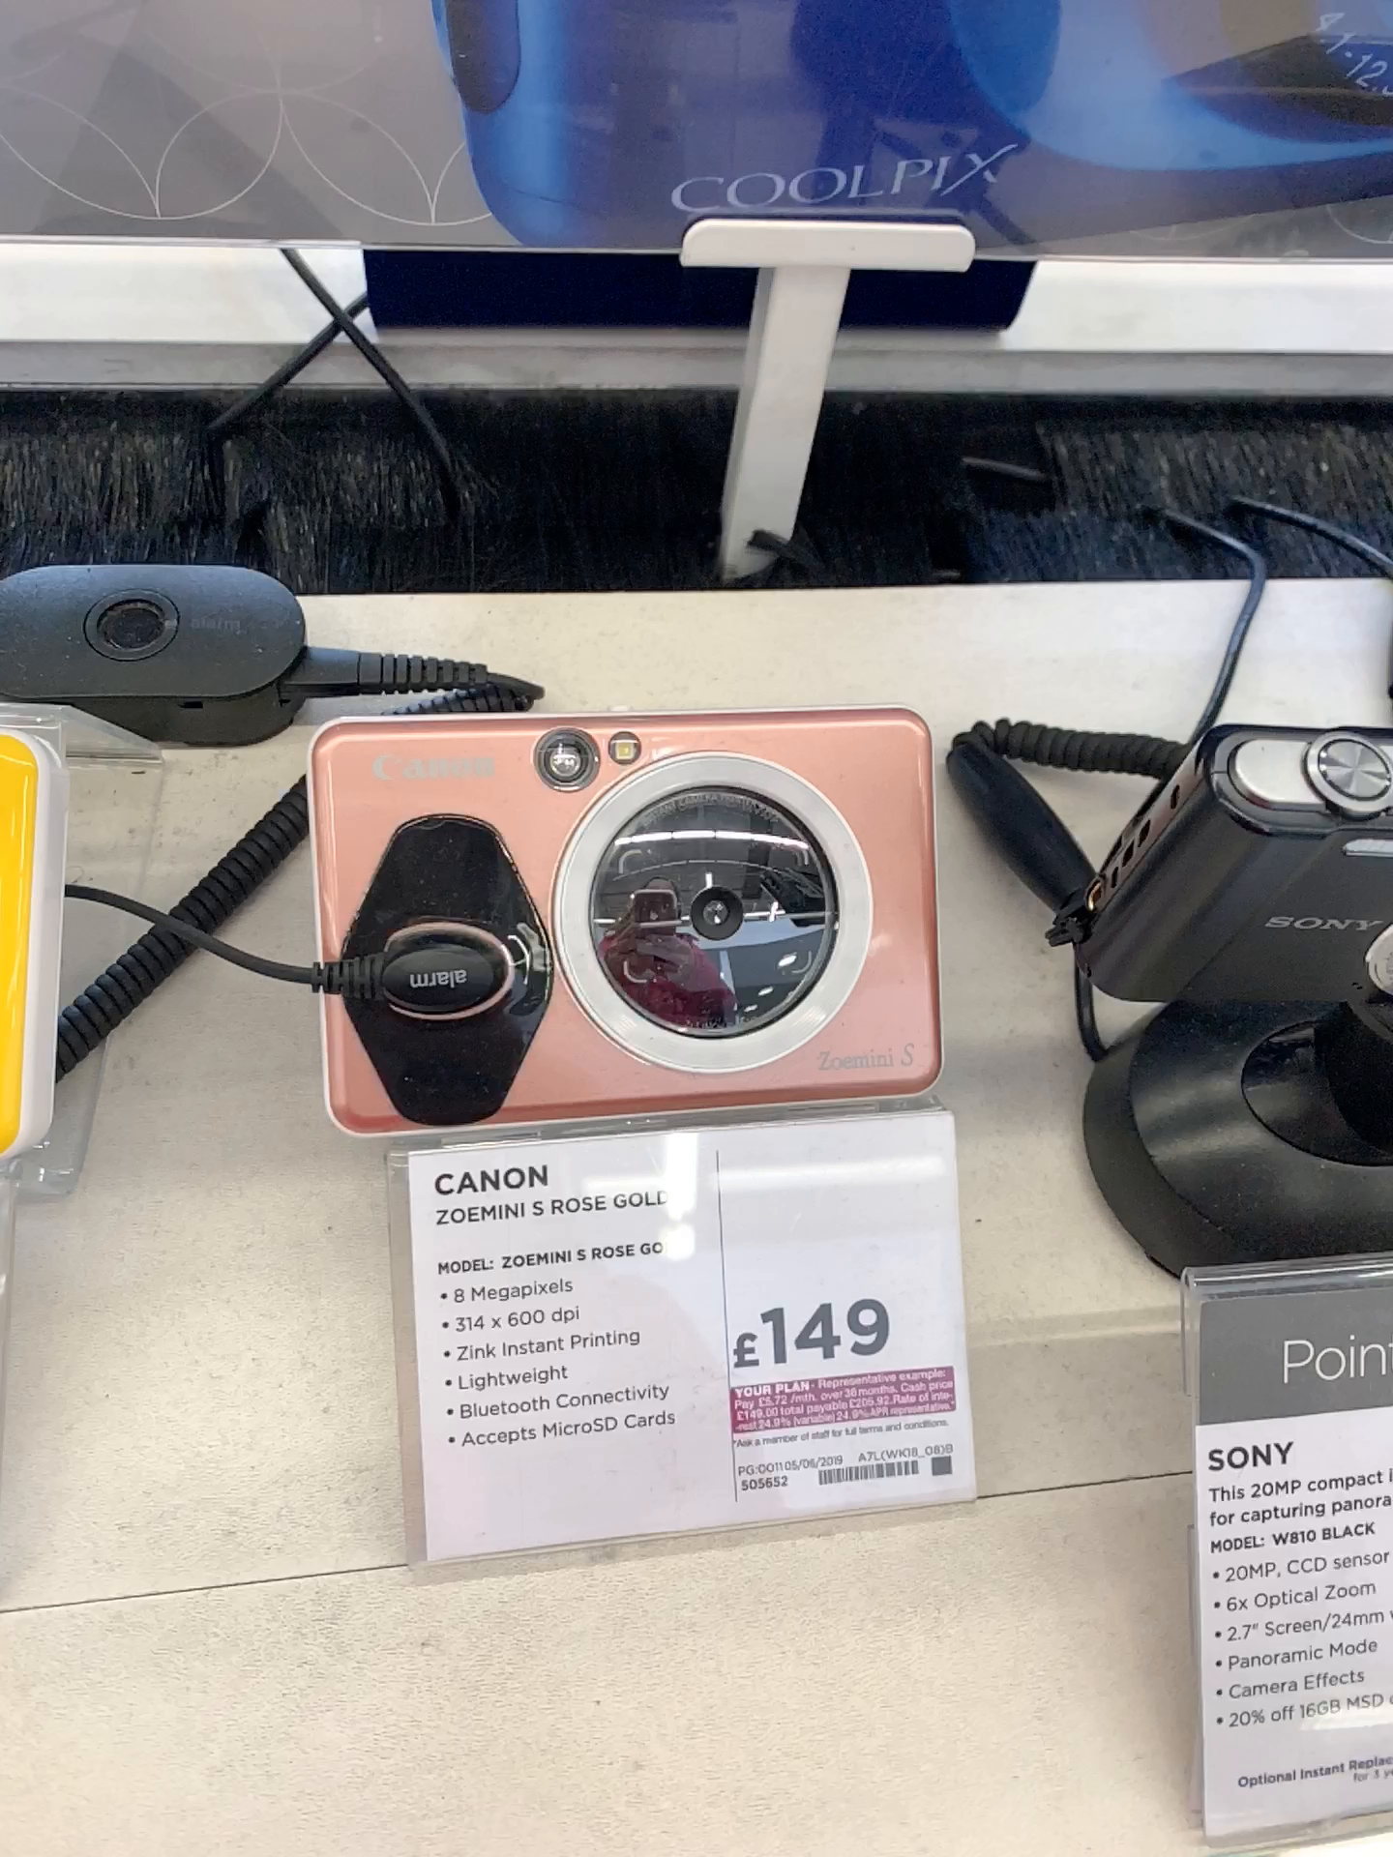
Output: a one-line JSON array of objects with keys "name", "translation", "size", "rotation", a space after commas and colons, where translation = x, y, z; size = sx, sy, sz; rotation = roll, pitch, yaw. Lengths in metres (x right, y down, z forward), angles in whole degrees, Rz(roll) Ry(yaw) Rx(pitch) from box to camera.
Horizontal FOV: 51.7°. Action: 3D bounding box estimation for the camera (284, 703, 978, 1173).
[{"name": "camera", "translation": [-0.011, 0.000, 0.282], "size": [0.129, 0.020, 0.083], "rotation": [-3, 92, -9]}]
